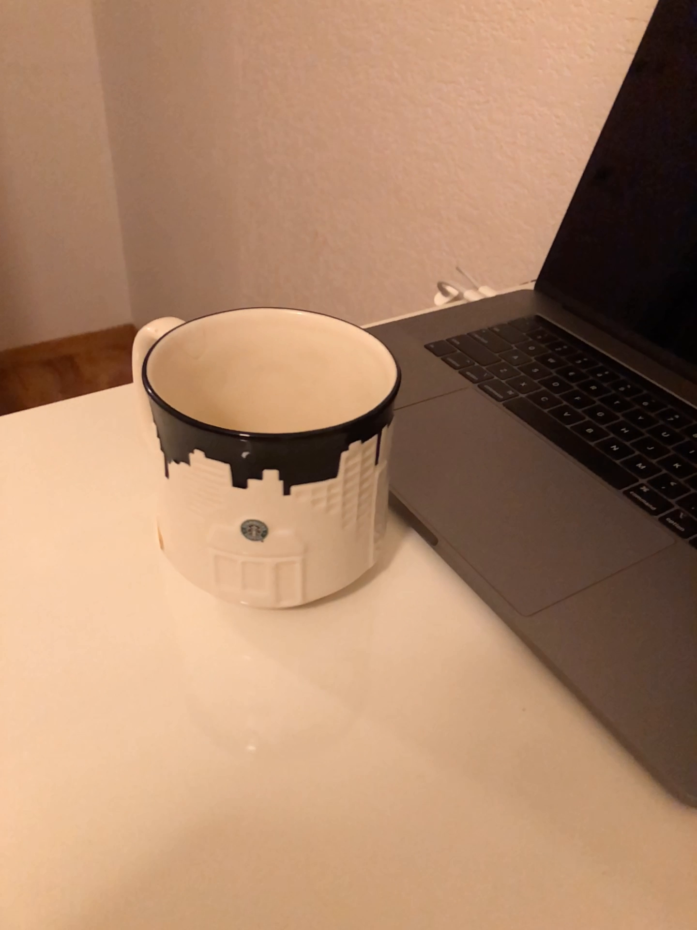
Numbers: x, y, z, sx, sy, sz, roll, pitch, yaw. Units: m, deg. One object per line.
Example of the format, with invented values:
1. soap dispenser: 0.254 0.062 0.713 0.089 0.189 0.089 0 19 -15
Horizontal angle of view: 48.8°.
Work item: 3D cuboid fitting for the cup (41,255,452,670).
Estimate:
1. cup: -0.048 -0.011 0.361 0.150 0.109 0.100 31 45 32
